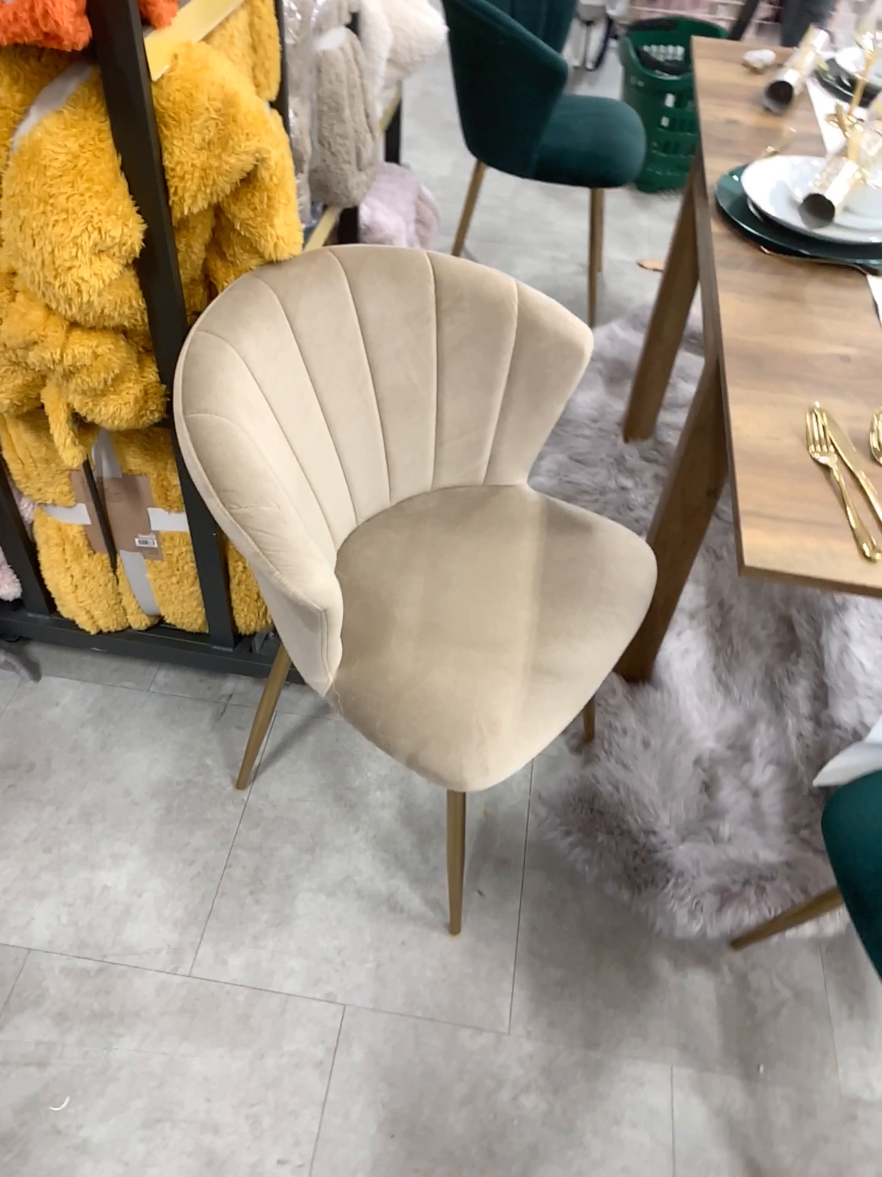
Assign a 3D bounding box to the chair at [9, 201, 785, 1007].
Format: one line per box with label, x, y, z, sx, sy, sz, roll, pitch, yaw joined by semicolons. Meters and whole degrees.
chair;-0.038;0.009;1.166;0.574;0.666;0.565;29;51;20
